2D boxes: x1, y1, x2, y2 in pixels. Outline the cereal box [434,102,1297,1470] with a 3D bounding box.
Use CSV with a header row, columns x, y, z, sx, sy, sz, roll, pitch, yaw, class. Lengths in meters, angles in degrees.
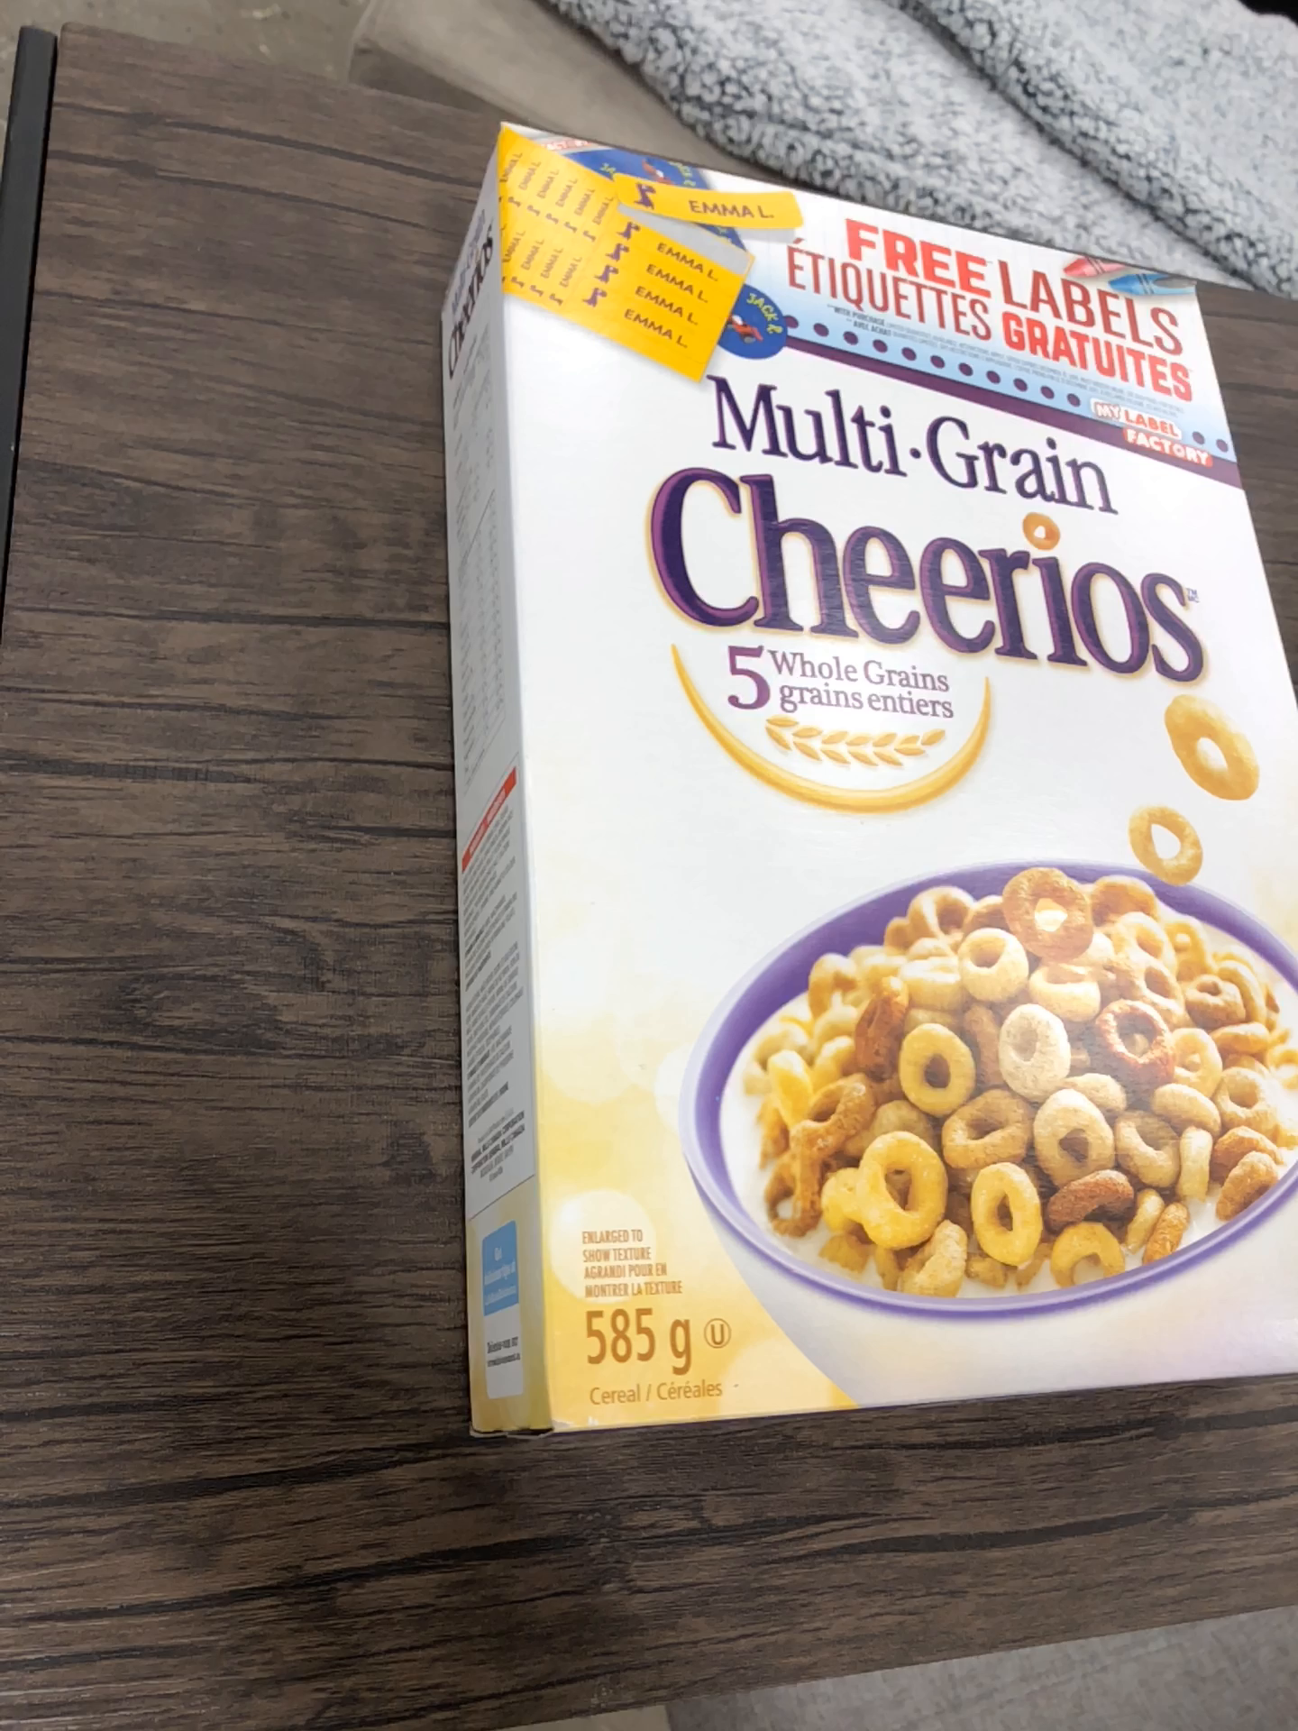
x,y,z,sx,sy,sz,roll,pitch,yaw,class
0.074,-0.028,0.396,0.250,0.070,0.340,4,66,-19,cereal box
